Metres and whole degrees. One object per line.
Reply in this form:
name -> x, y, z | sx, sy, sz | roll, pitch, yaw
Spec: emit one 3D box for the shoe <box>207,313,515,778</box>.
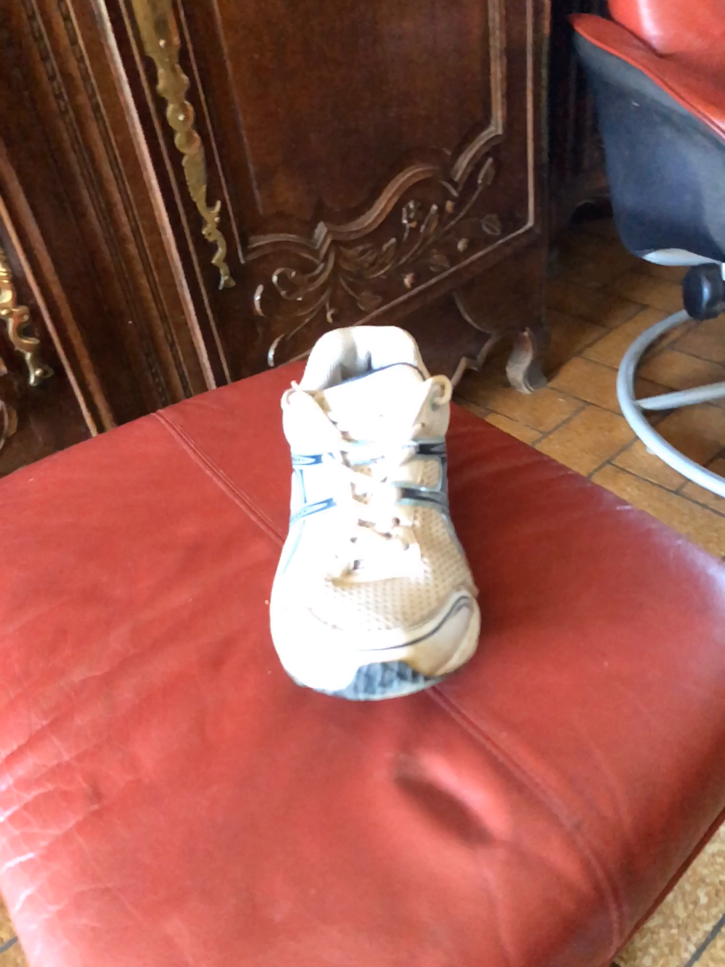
shoe -> 0.000, 0.011, 0.438 | 0.120, 0.080, 0.272 | -6, 39, 3
